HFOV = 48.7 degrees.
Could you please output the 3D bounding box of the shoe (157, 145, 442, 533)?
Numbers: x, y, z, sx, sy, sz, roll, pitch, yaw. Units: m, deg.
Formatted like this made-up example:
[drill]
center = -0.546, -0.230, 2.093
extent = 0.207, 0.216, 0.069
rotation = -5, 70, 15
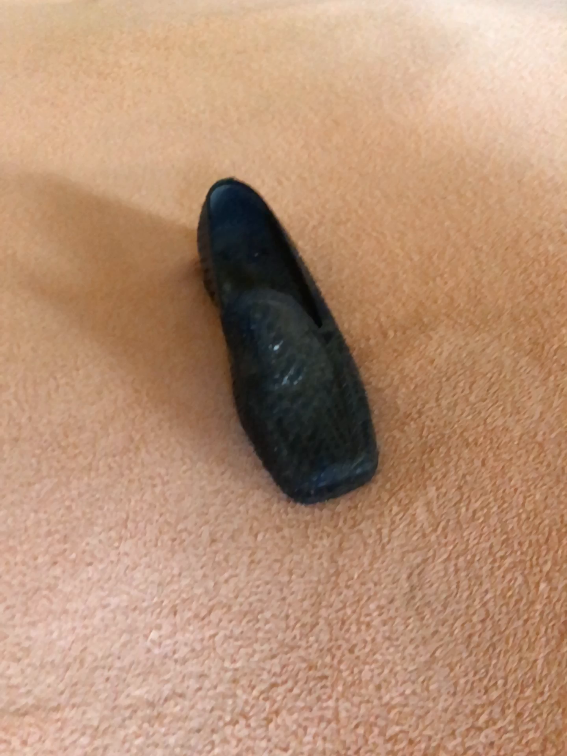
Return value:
[shoe]
center = -0.004, -0.046, 0.432
extent = 0.100, 0.090, 0.271
rotation = -17, 48, -8
